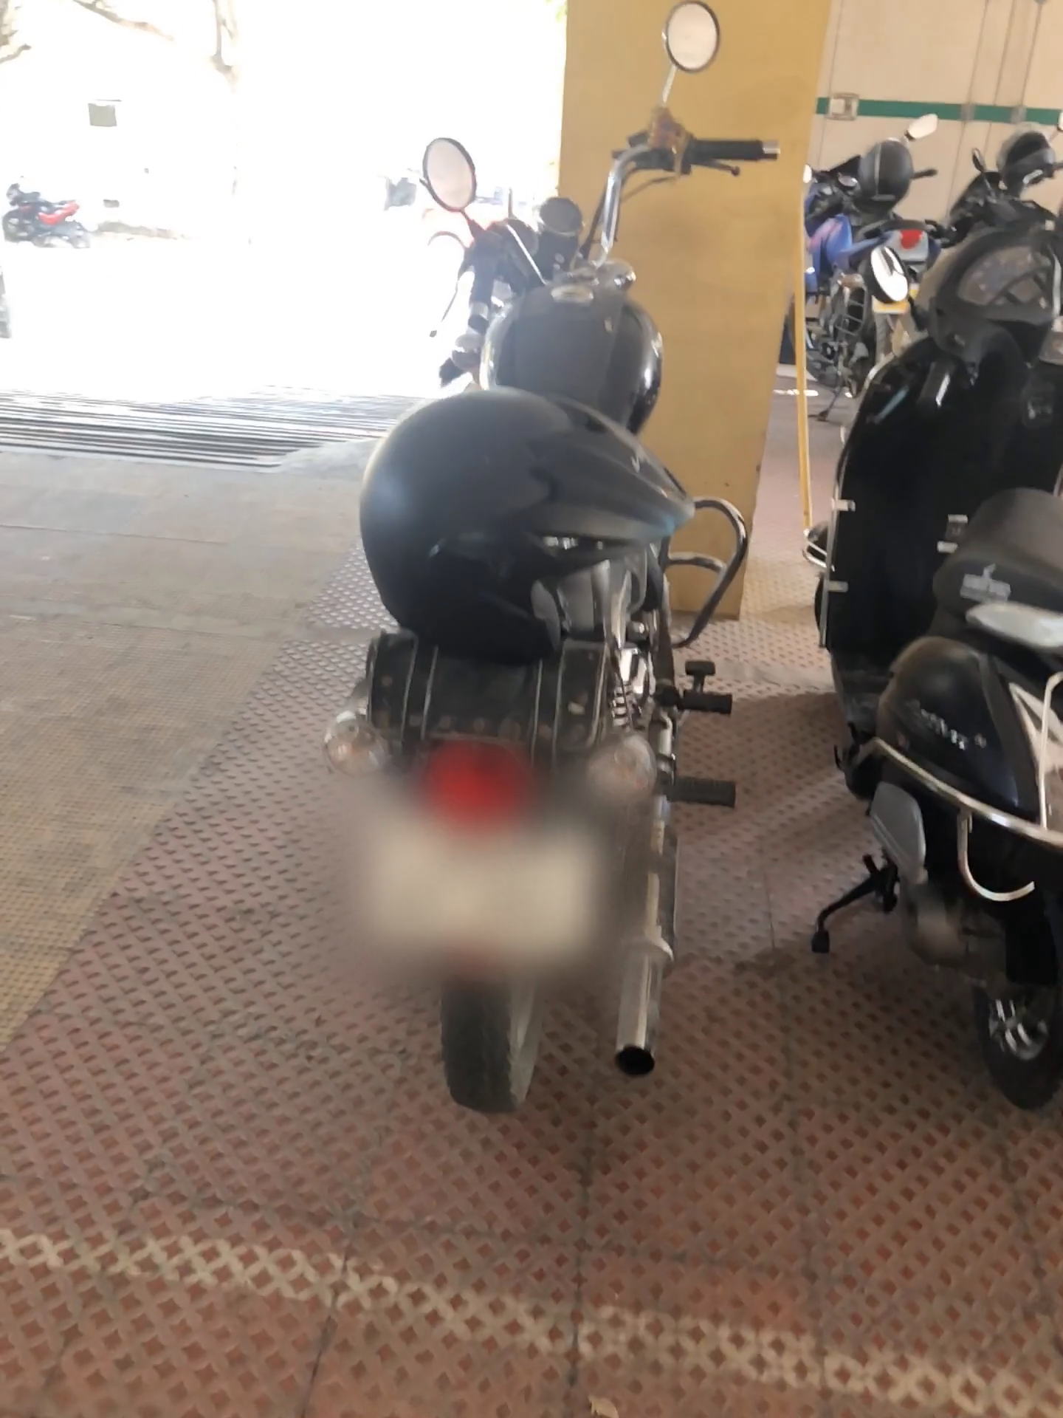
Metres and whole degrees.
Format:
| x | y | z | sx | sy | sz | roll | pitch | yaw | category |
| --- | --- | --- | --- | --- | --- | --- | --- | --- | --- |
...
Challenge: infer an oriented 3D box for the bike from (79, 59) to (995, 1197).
| x | y | z | sx | sy | sz | roll | pitch | yaw | category |
| --- | --- | --- | --- | --- | --- | --- | --- | --- | --- |
| -0.070 | -0.392 | 2.046 | 0.783 | 1.178 | 1.819 | 2 | 31 | -2 | bike |
